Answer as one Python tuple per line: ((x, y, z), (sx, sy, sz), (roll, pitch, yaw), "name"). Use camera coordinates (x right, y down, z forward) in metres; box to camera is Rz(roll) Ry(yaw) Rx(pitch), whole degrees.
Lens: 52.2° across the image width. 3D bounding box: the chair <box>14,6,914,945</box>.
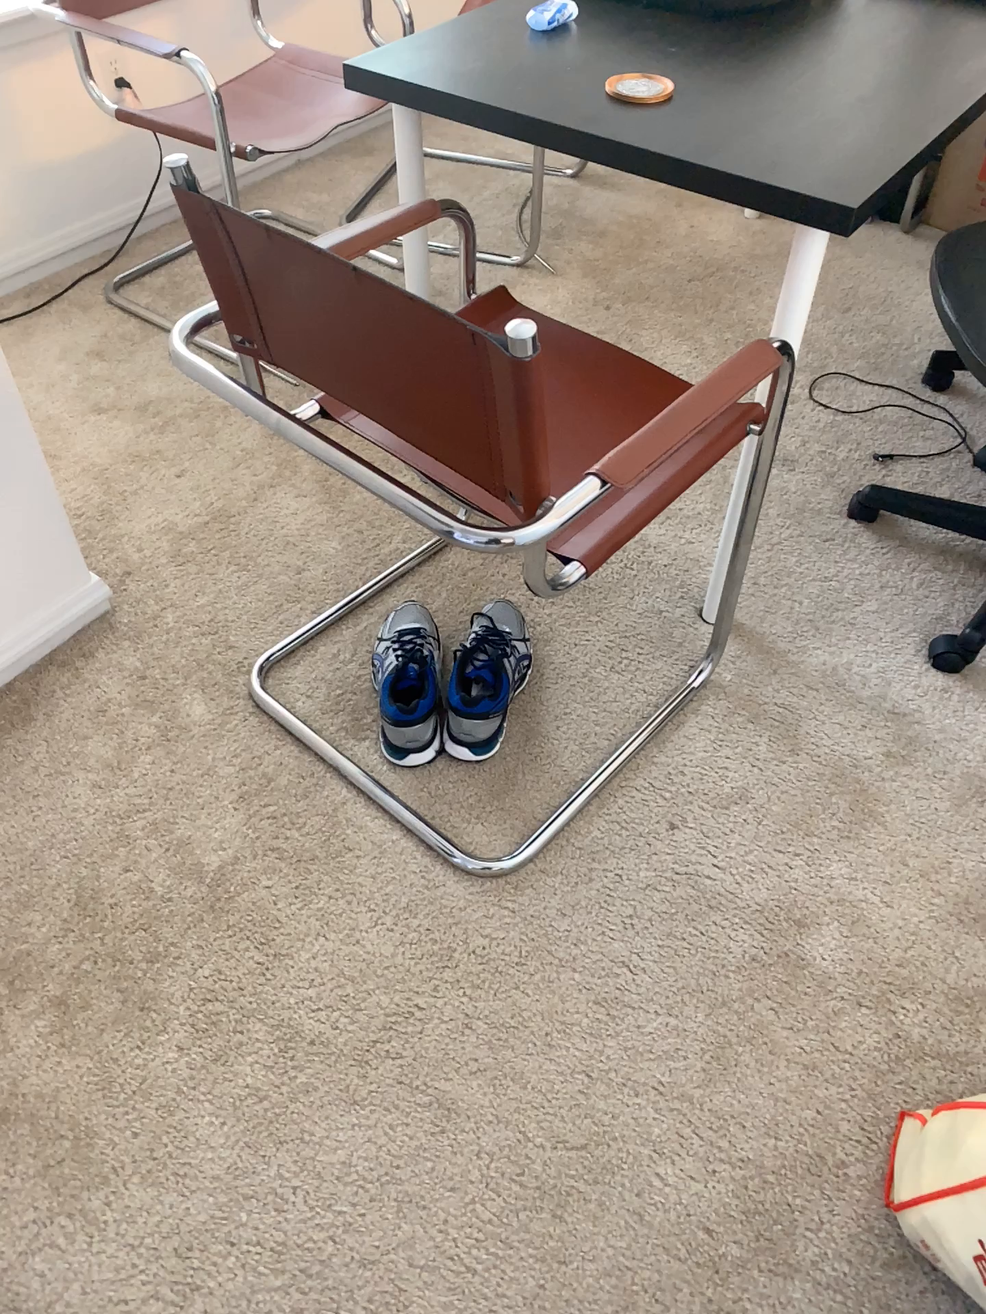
((-0.027, -0.229, 1.278), (0.622, 0.806, 0.621), (35, 56, 26), "chair")
